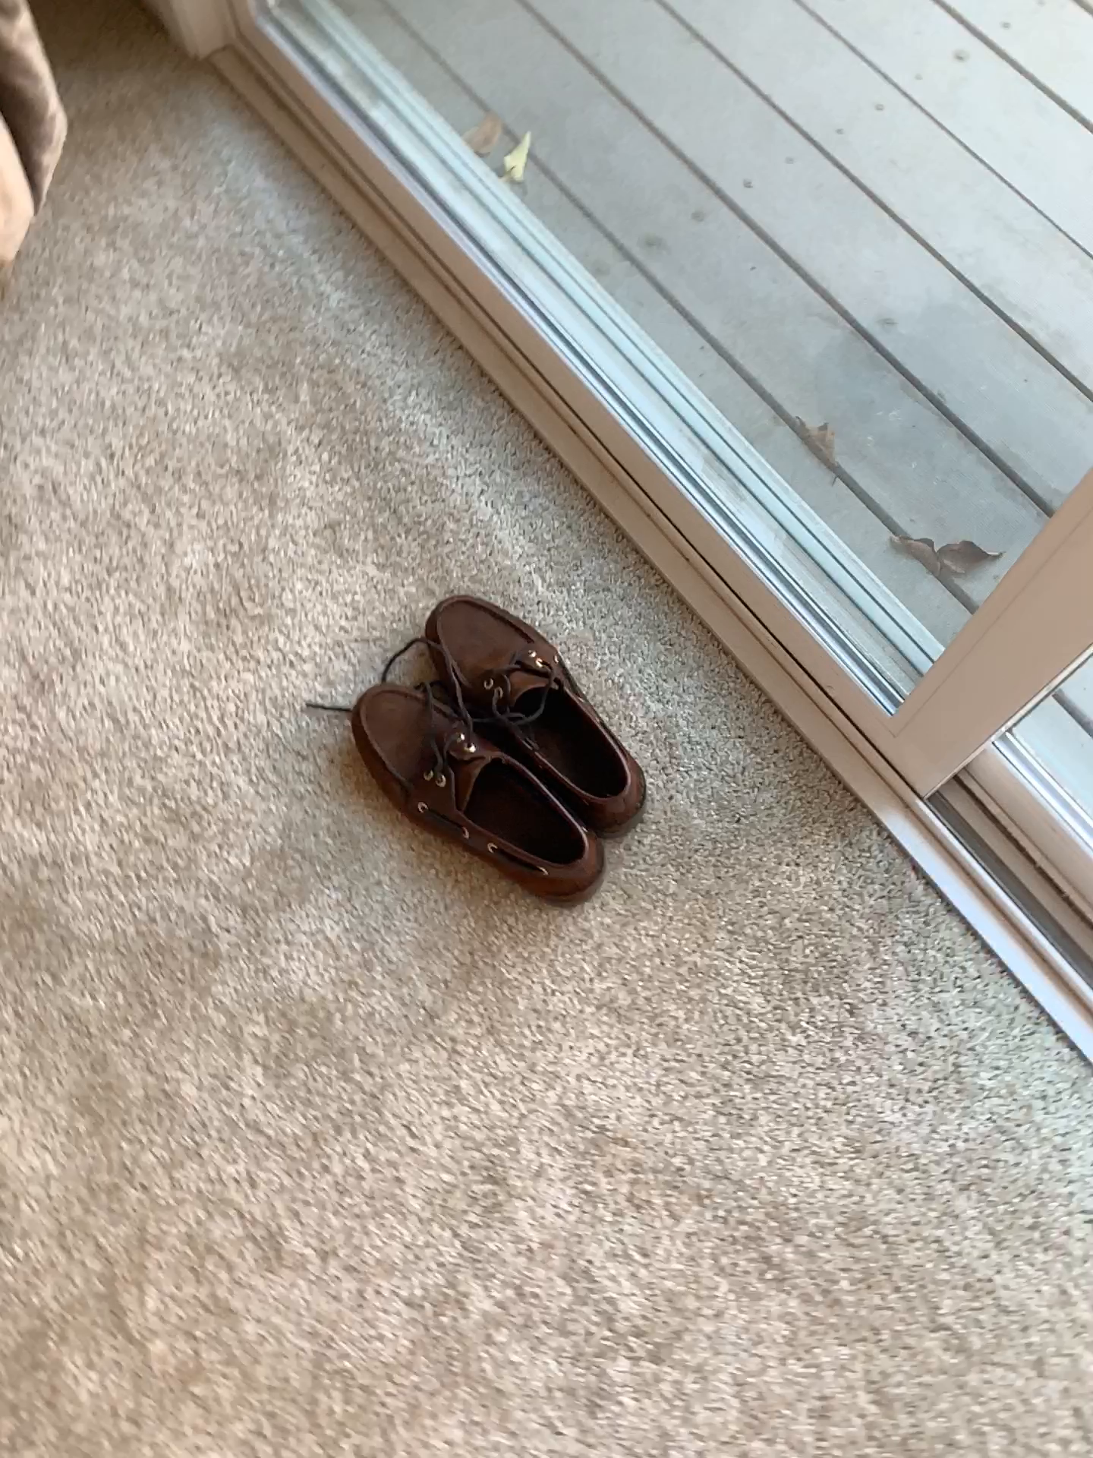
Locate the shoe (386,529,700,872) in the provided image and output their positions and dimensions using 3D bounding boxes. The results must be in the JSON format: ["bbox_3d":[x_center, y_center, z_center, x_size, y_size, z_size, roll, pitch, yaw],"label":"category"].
[{"bbox_3d":[-0.006,-0.027,1.028,0.110,0.100,0.300,-38,74,-12],"label":"shoe"}]

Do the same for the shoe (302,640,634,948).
[{"bbox_3d":[-0.070,0.059,1.004,0.290,0.100,0.100,37,75,13],"label":"shoe"}]
